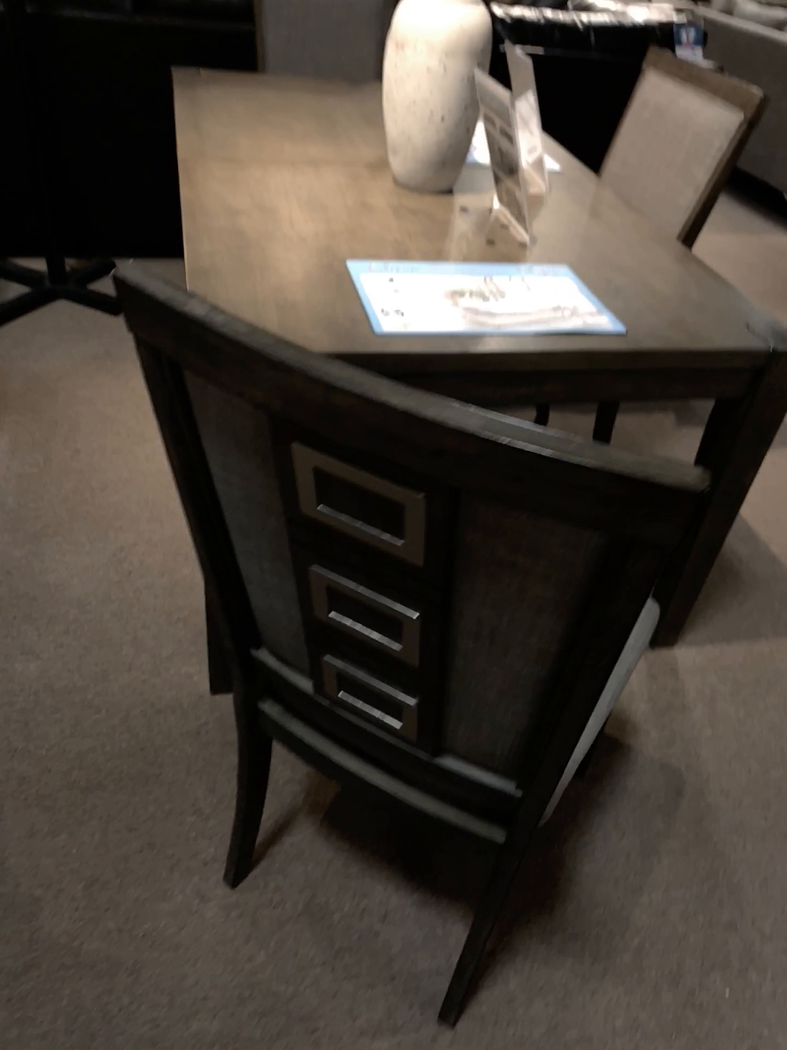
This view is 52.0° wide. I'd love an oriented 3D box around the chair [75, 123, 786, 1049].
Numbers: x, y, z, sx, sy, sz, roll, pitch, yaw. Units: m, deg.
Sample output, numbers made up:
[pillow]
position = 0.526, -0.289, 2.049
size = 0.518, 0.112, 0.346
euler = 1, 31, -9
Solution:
[chair]
position = 0.078, 0.111, 1.078
size = 0.515, 0.997, 0.645
euler = 22, 41, 17
